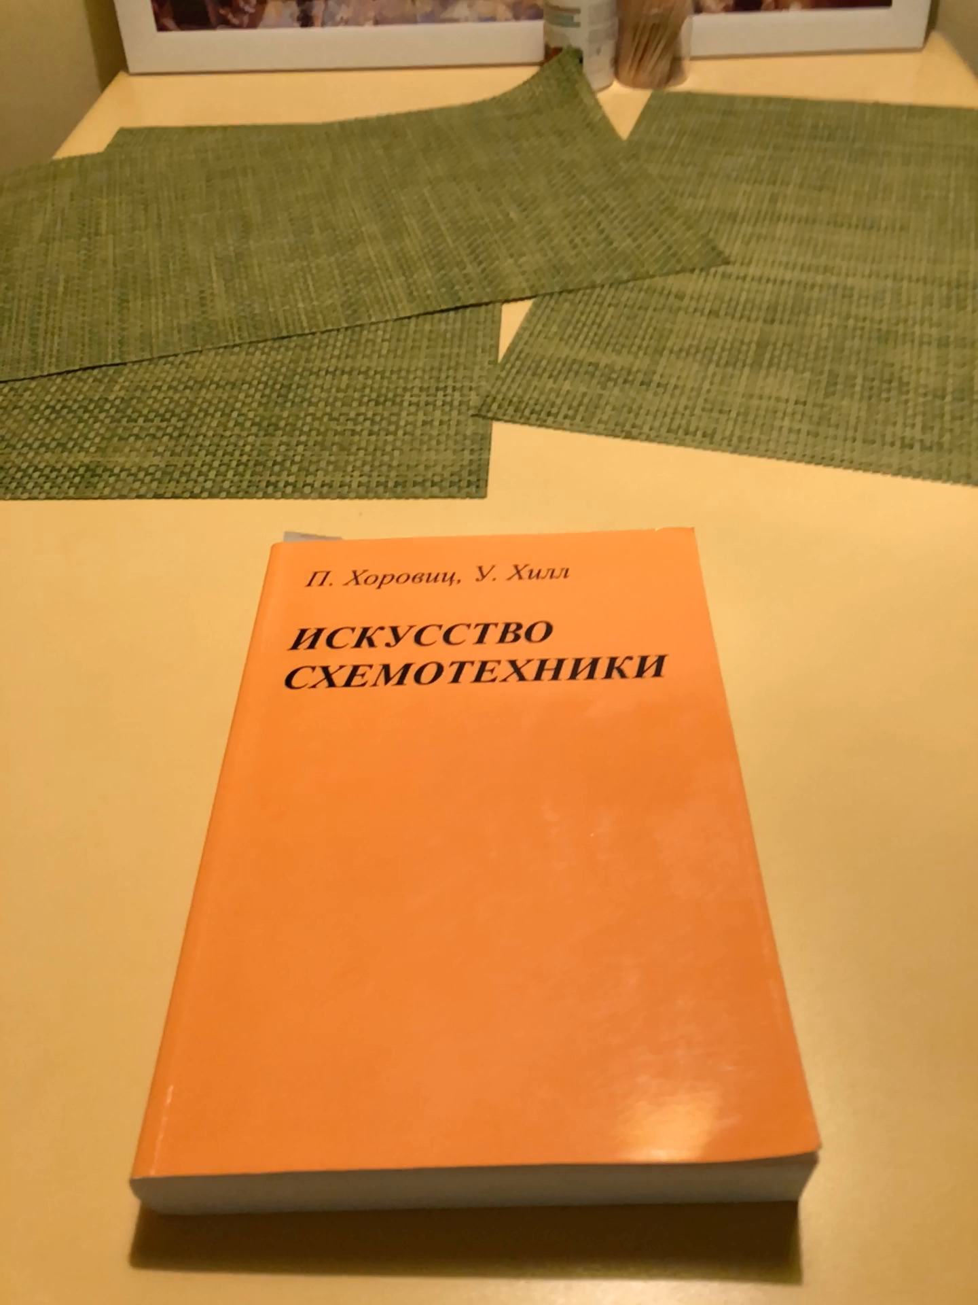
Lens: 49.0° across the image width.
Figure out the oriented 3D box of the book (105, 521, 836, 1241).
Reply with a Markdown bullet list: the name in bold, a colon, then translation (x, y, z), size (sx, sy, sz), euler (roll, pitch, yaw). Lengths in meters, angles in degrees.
- **book**: translation (-0.003, 0.053, 0.351), size (0.171, 0.048, 0.239), euler (-1, 46, 2)
